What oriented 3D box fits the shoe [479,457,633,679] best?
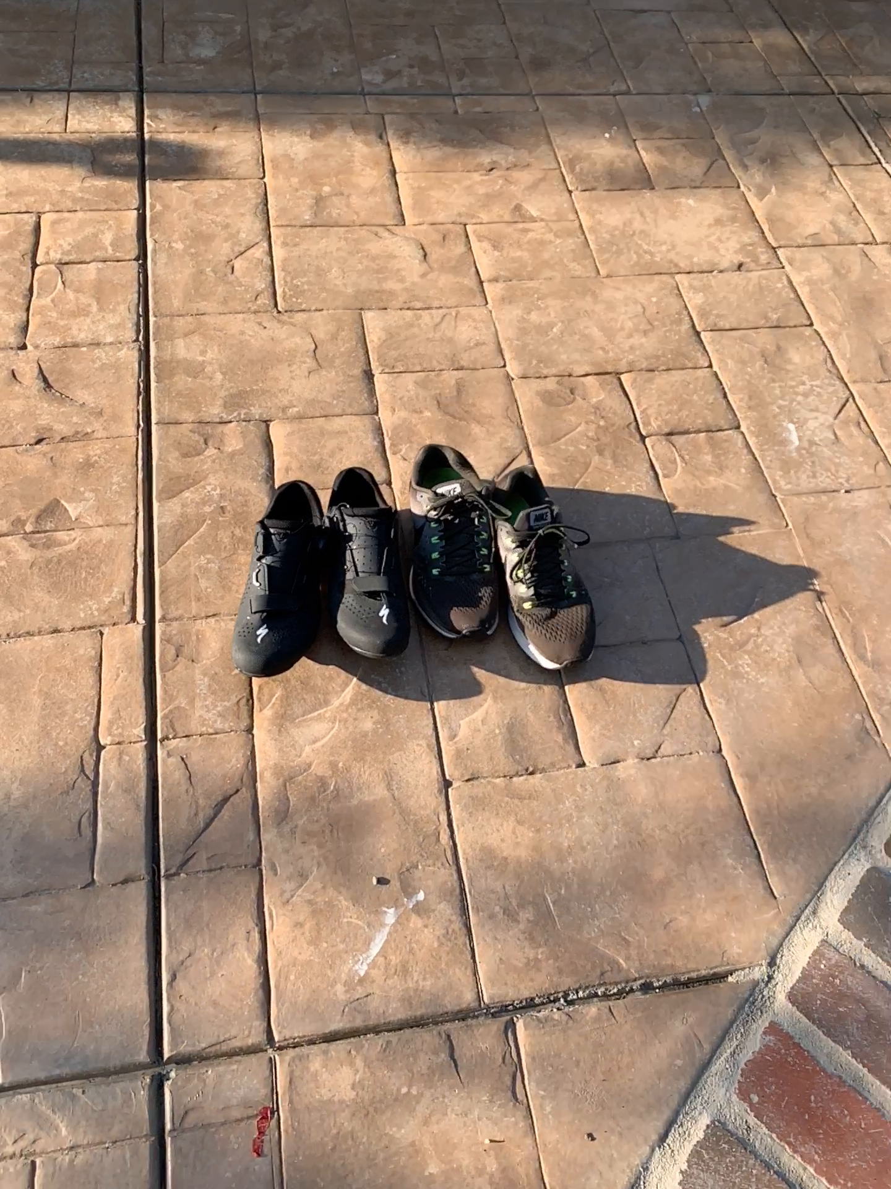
[{"bbox_3d":[0.130,-0.039,1.138,0.120,0.080,0.271,-5,57,-9],"label":"shoe"}]

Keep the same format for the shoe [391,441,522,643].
[{"bbox_3d":[0.007,-0.073,1.171,0.120,0.070,0.261,-5,57,-9],"label":"shoe"}]

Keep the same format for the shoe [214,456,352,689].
[{"bbox_3d":[-0.183,-0.032,1.071,0.100,0.070,0.271,8,56,0],"label":"shoe"}]

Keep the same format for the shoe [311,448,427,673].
[{"bbox_3d":[-0.093,-0.045,1.057,0.100,0.070,0.261,-5,57,-9],"label":"shoe"}]
